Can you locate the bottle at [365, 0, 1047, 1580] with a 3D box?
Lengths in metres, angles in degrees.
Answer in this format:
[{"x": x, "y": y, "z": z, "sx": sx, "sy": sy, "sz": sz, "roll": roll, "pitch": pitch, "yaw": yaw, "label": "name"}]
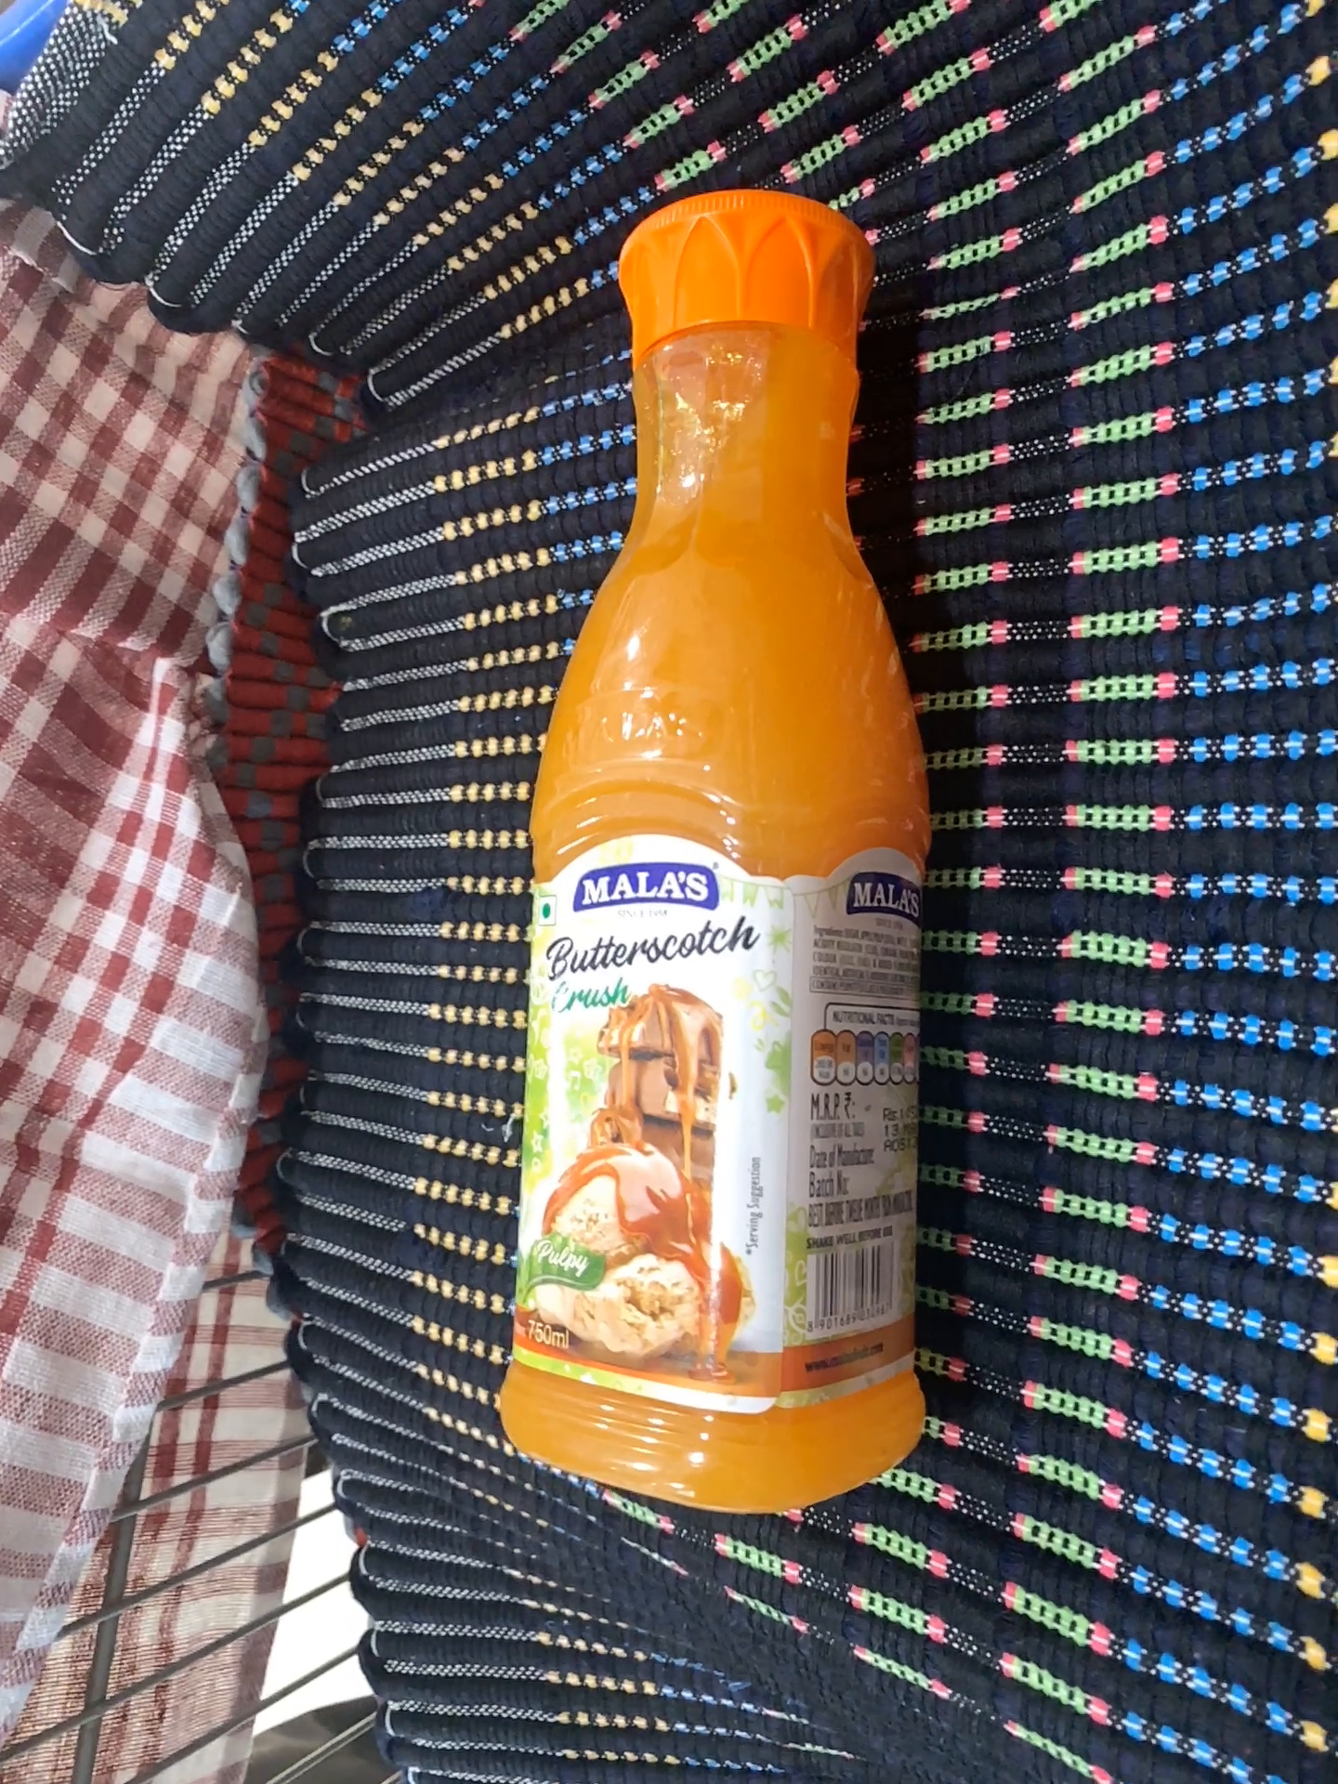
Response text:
[{"x": 0.012, "y": -0.028, "z": 0.241, "sx": 0.070, "sy": 0.060, "sz": 0.250, "roll": -1, "pitch": 78, "yaw": 39, "label": "bottle"}]
